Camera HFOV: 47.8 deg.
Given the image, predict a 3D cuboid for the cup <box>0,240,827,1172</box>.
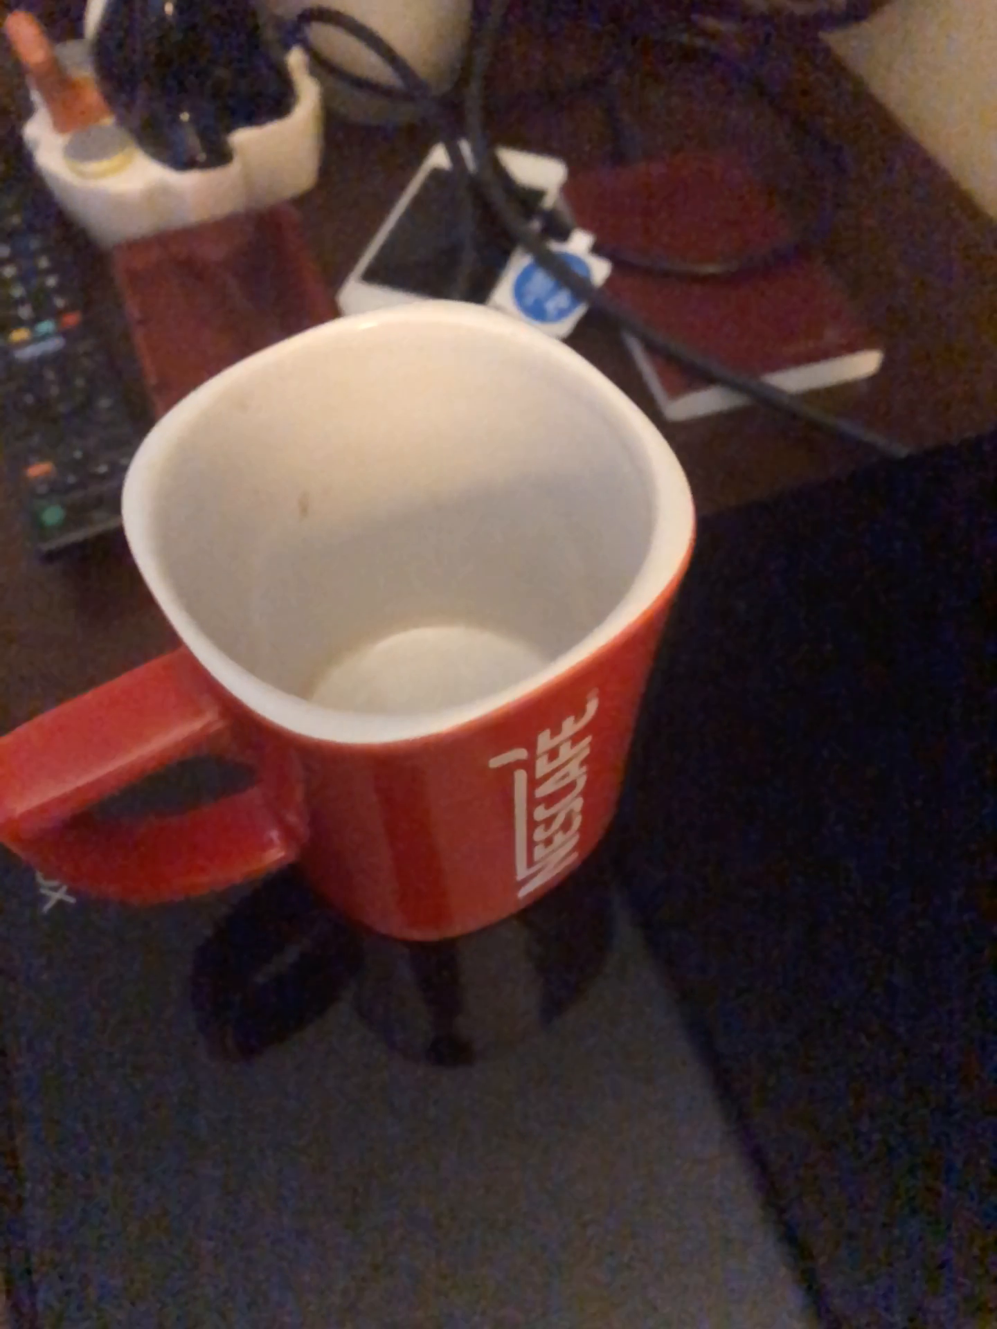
[{"bbox_3d":[-0.024,0.009,0.188,0.110,0.090,0.080,-30,62,-17],"label":"cup"}]
